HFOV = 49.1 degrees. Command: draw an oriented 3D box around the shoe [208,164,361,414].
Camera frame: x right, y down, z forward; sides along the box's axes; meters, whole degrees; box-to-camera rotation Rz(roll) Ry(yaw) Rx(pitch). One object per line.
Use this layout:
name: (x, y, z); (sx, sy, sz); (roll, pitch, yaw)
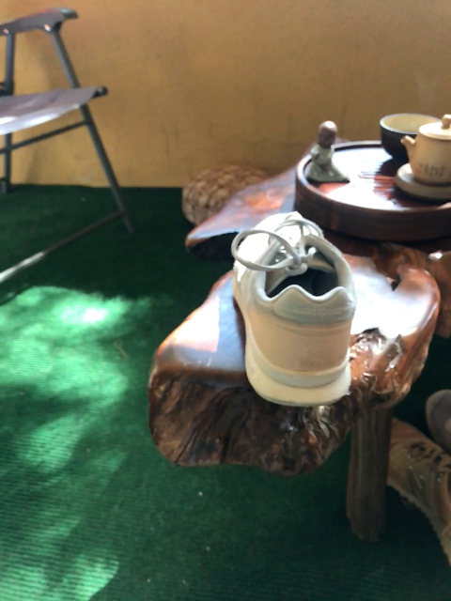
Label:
shoe: (0.048, -0.030, 0.462); (0.102, 0.091, 0.265); (0, 38, 4)
